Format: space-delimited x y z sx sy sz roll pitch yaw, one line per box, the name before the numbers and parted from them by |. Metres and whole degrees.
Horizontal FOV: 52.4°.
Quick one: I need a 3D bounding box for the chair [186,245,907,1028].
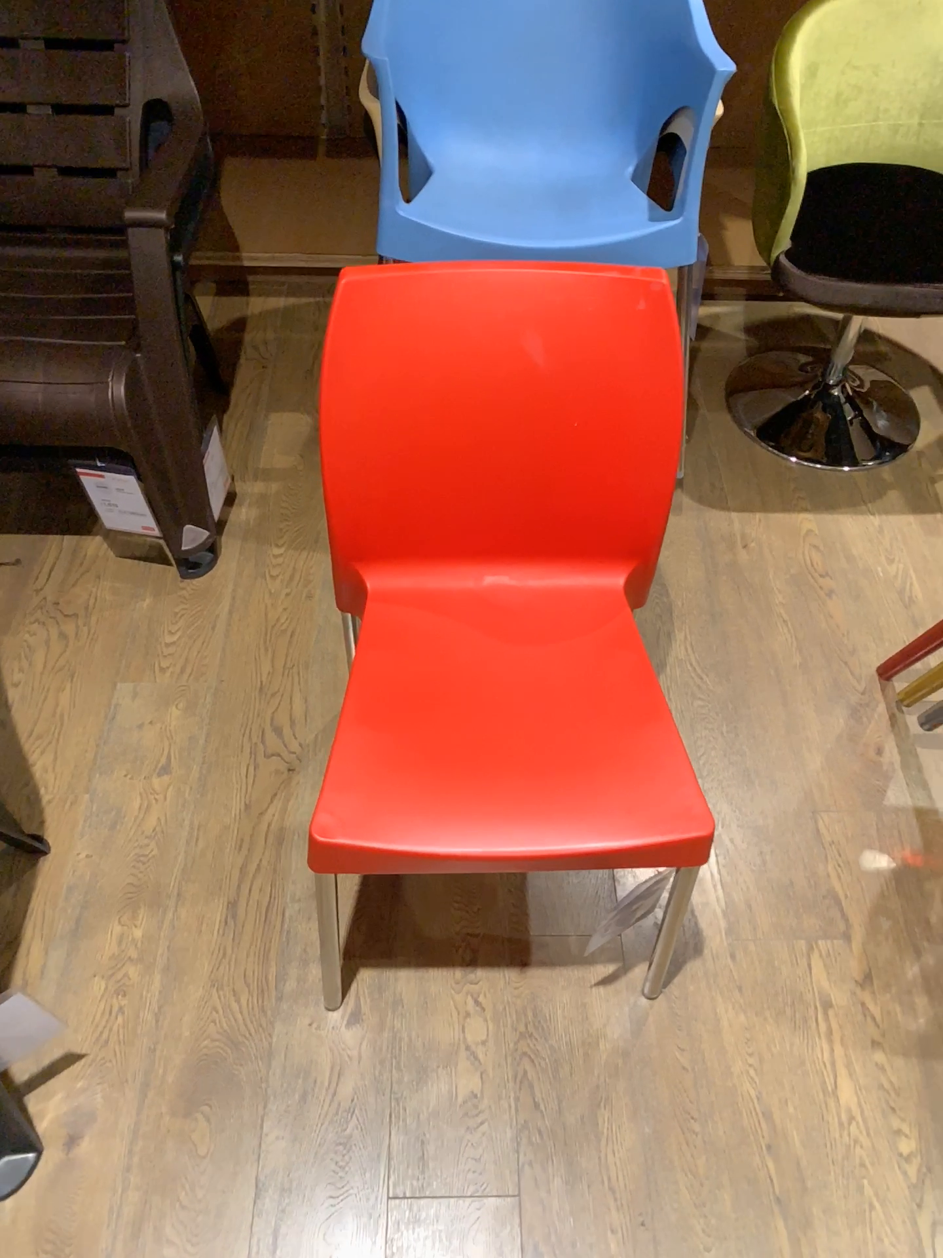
chair | 0.033 0.055 1.179 0.520 0.788 0.592 -1 52 -3
